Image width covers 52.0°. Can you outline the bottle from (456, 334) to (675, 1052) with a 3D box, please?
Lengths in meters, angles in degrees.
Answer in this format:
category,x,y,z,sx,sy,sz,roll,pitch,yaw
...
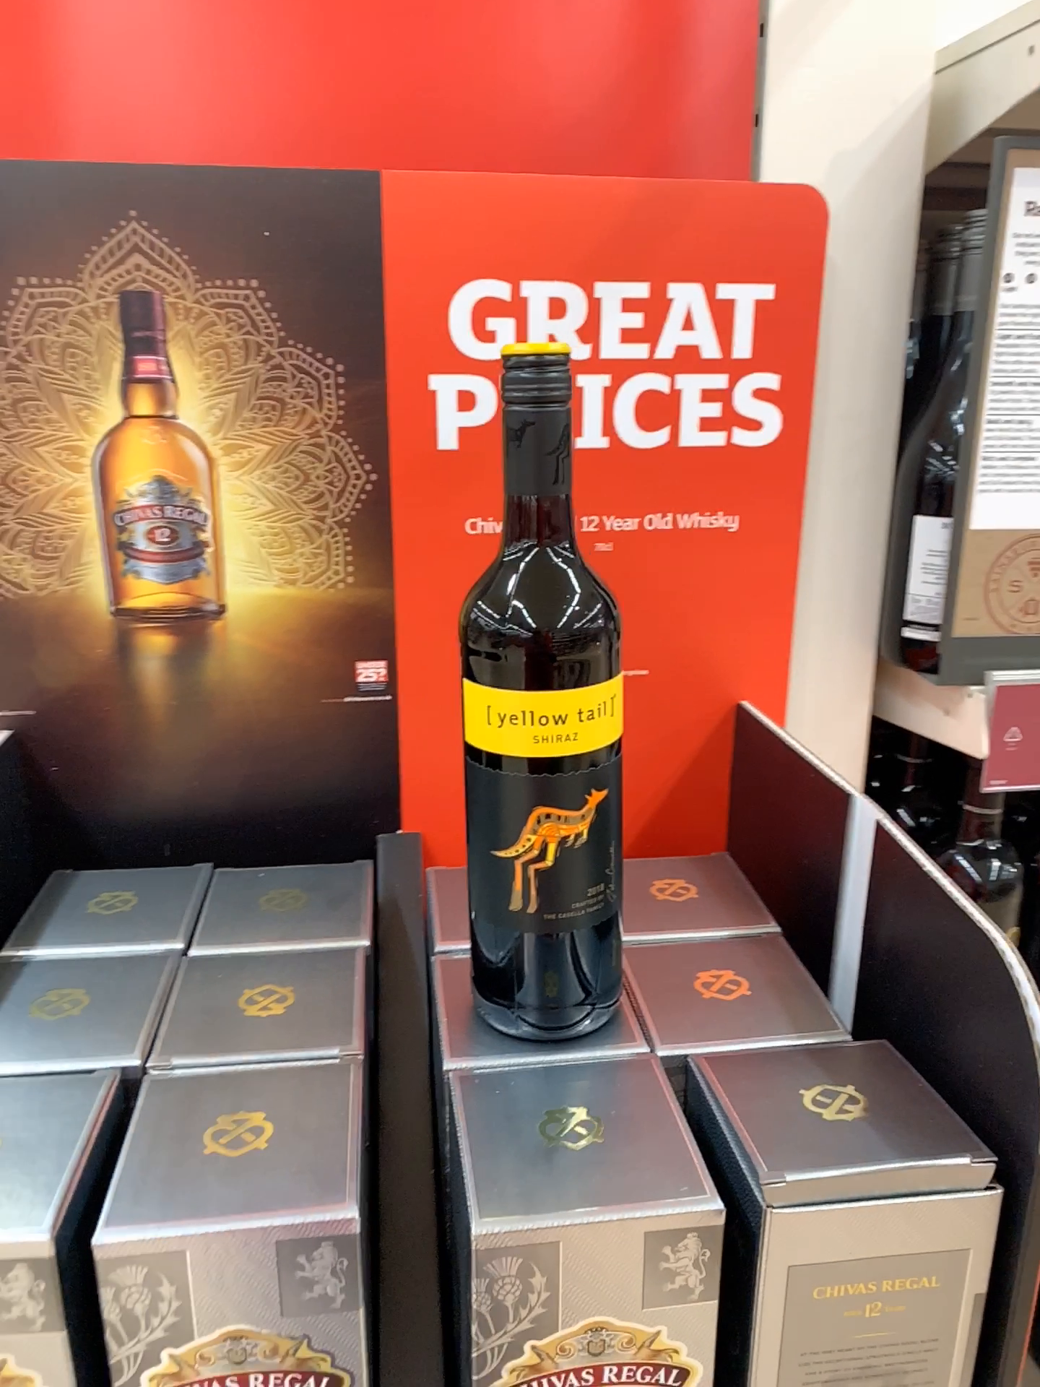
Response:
category,x,y,z,sx,sy,sz,roll,pitch,yaw
bottle,0.014,0.001,0.477,0.077,0.305,0.081,0,17,0
